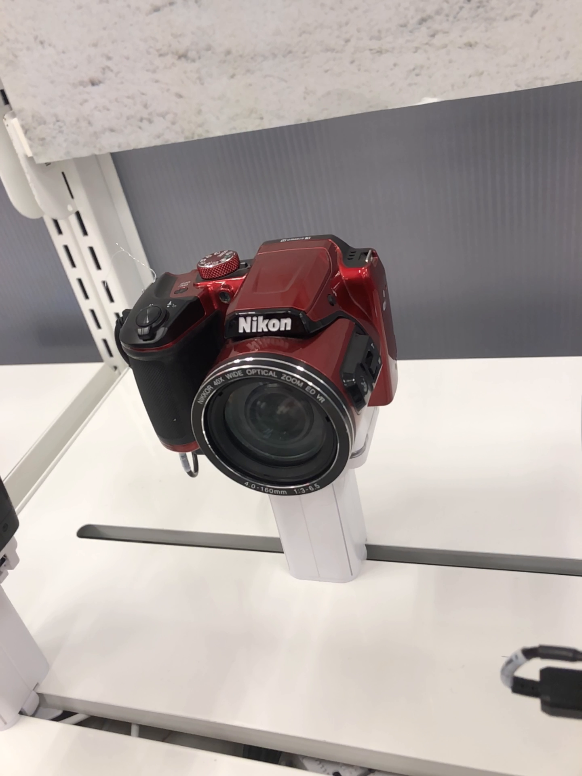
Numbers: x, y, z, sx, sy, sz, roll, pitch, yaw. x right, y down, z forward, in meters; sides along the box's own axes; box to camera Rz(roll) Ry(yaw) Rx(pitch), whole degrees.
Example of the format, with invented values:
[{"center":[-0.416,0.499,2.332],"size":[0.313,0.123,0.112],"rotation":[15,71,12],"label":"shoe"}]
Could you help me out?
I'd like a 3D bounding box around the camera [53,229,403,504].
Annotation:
[{"center":[-0.017,-0.011,0.271],"size":[0.110,0.073,0.084],"rotation":[0,35,19],"label":"camera"}]
